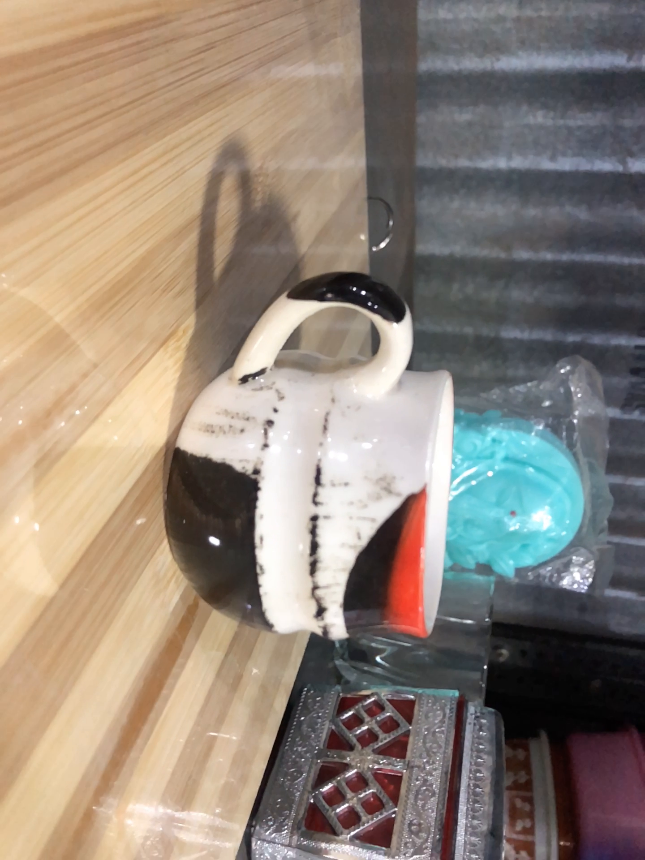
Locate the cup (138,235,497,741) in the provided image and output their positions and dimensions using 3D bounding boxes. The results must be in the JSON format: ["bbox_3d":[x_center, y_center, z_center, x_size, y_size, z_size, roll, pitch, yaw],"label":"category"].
[{"bbox_3d":[0.006,0.004,0.171,0.080,0.060,0.090,-54,147,-67],"label":"cup"}]
